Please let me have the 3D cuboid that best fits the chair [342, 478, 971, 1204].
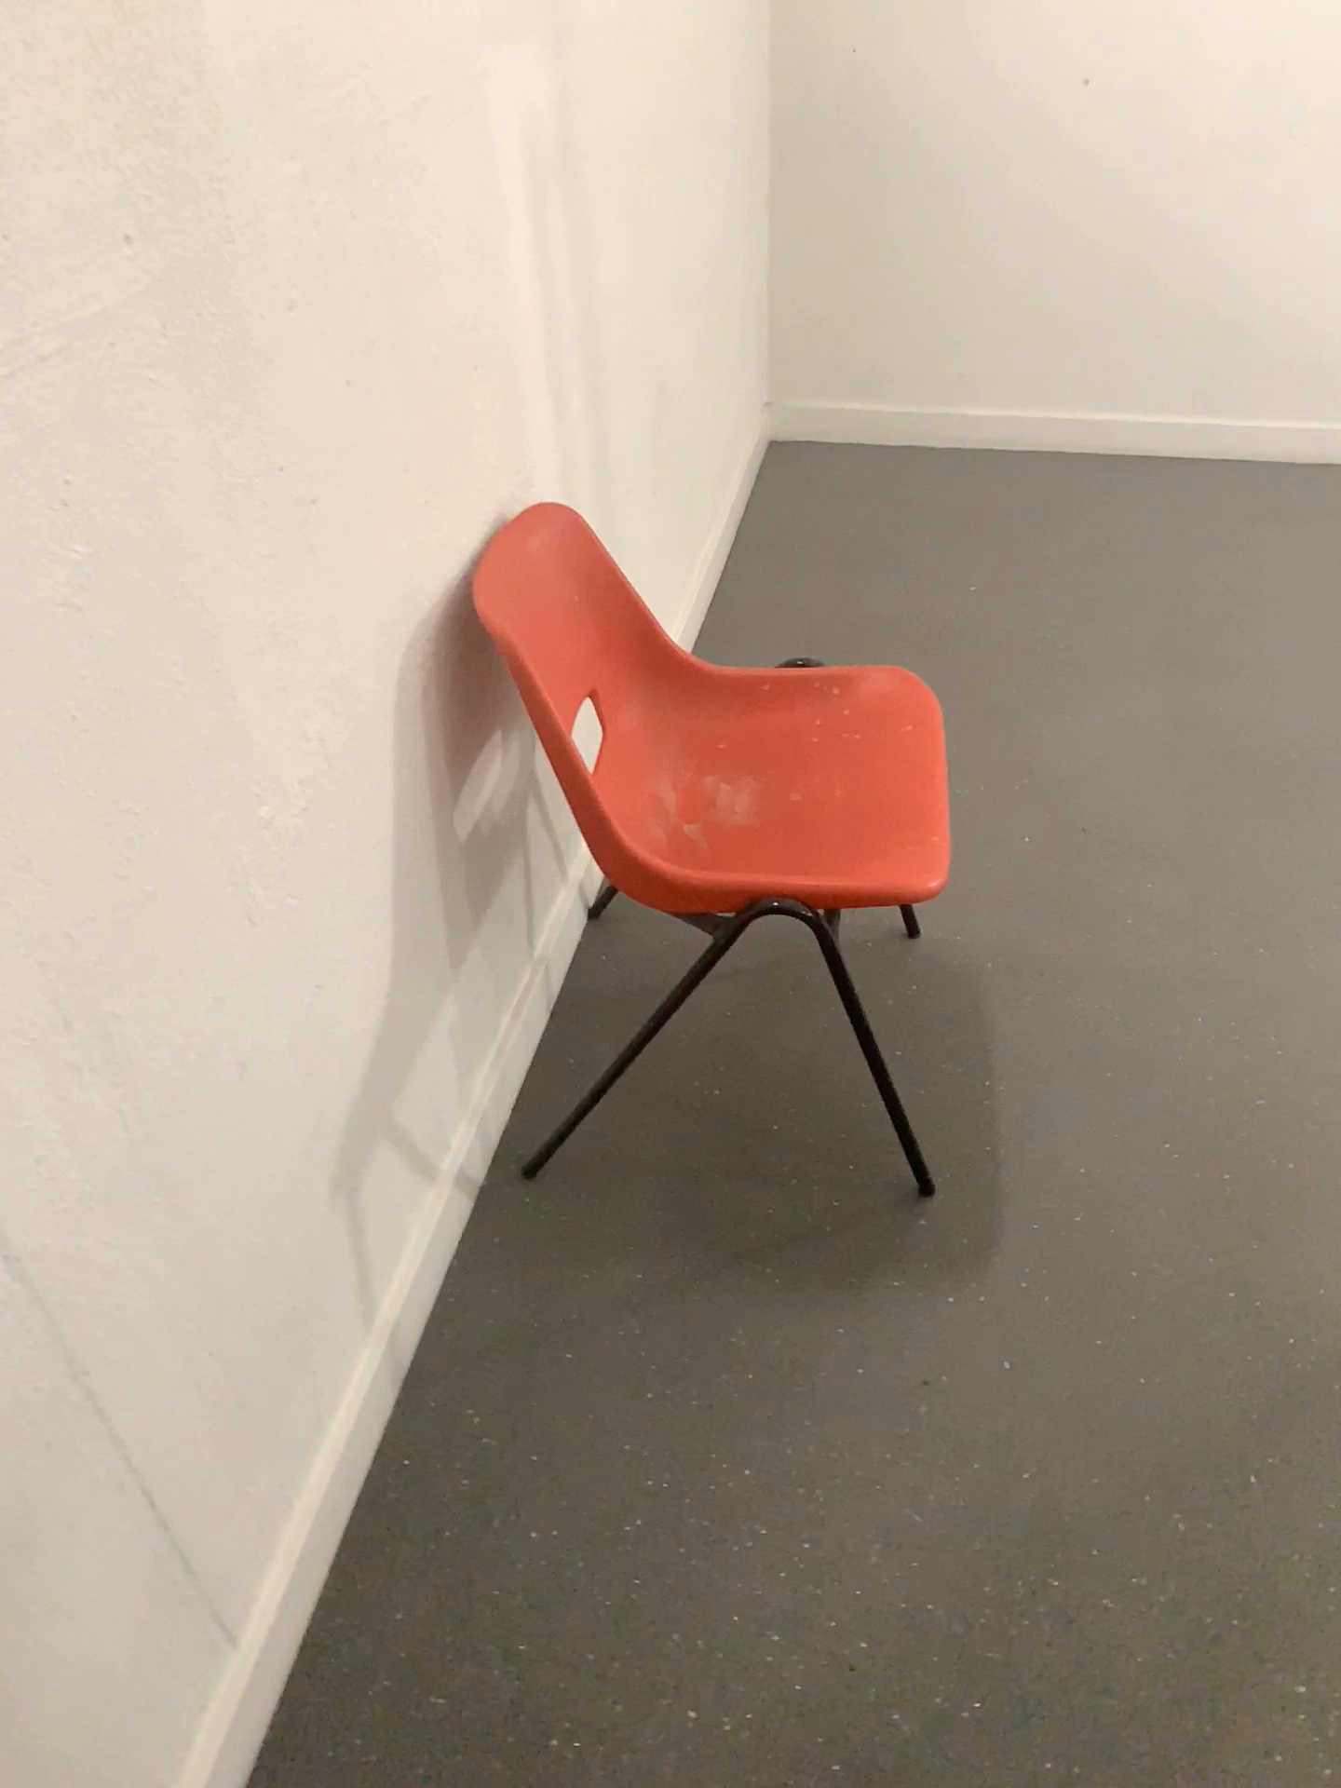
[{"bbox_3d":[0.027,-0.065,1.687,0.590,0.713,0.515,2,40,7],"label":"chair"}]
